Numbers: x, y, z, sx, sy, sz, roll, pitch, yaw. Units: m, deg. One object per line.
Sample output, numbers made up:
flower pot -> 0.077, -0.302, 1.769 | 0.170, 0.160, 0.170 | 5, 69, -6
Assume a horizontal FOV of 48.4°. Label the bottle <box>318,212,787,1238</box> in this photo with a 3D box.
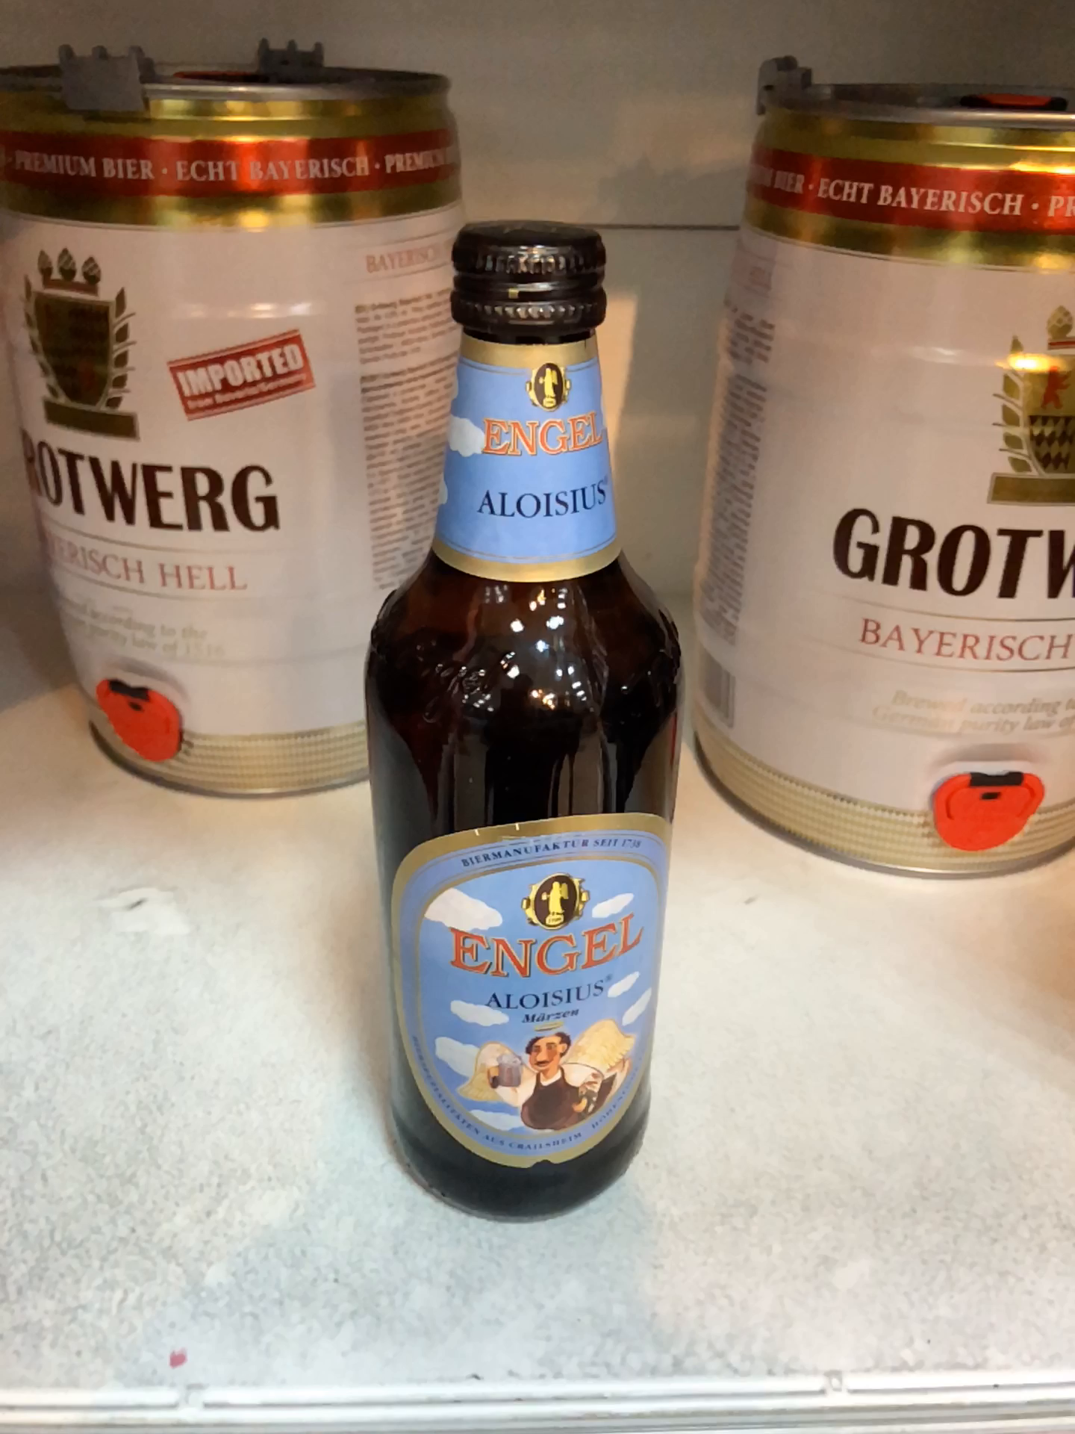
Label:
bottle -> -0.001, 0.013, 0.258 | 0.070, 0.219, 0.060 | -2, 31, -5
